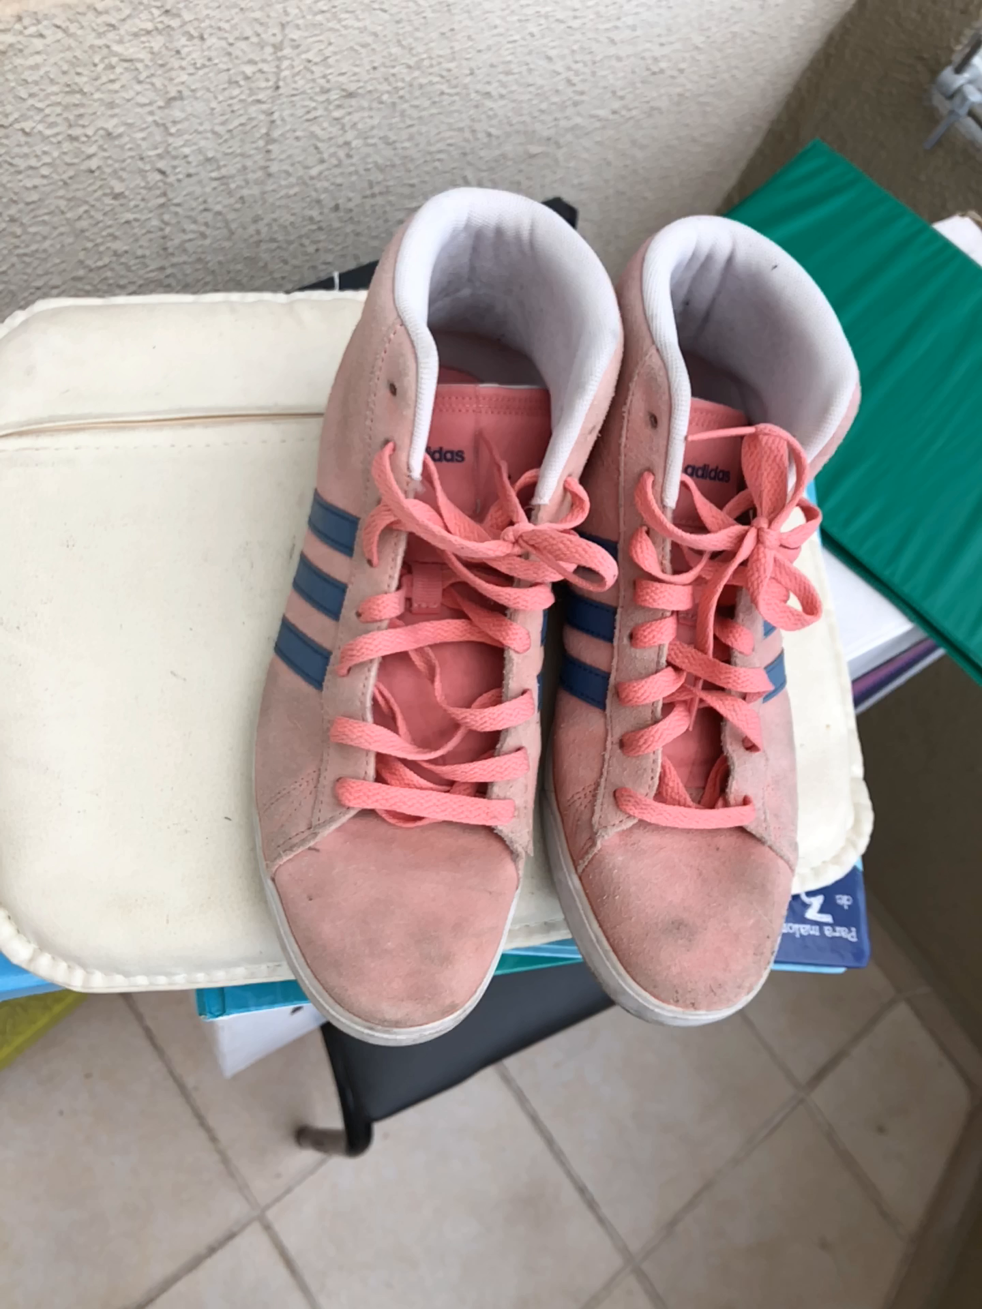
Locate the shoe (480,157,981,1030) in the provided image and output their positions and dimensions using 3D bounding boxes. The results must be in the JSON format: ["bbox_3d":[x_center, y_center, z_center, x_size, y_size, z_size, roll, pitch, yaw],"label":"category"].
[{"bbox_3d":[0.073,-0.015,0.366,0.100,0.129,0.251,1,67,-17],"label":"shoe"}]

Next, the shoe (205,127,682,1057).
[{"bbox_3d":[-0.020,-0.012,0.344,0.100,0.129,0.251,8,65,-14],"label":"shoe"}]
